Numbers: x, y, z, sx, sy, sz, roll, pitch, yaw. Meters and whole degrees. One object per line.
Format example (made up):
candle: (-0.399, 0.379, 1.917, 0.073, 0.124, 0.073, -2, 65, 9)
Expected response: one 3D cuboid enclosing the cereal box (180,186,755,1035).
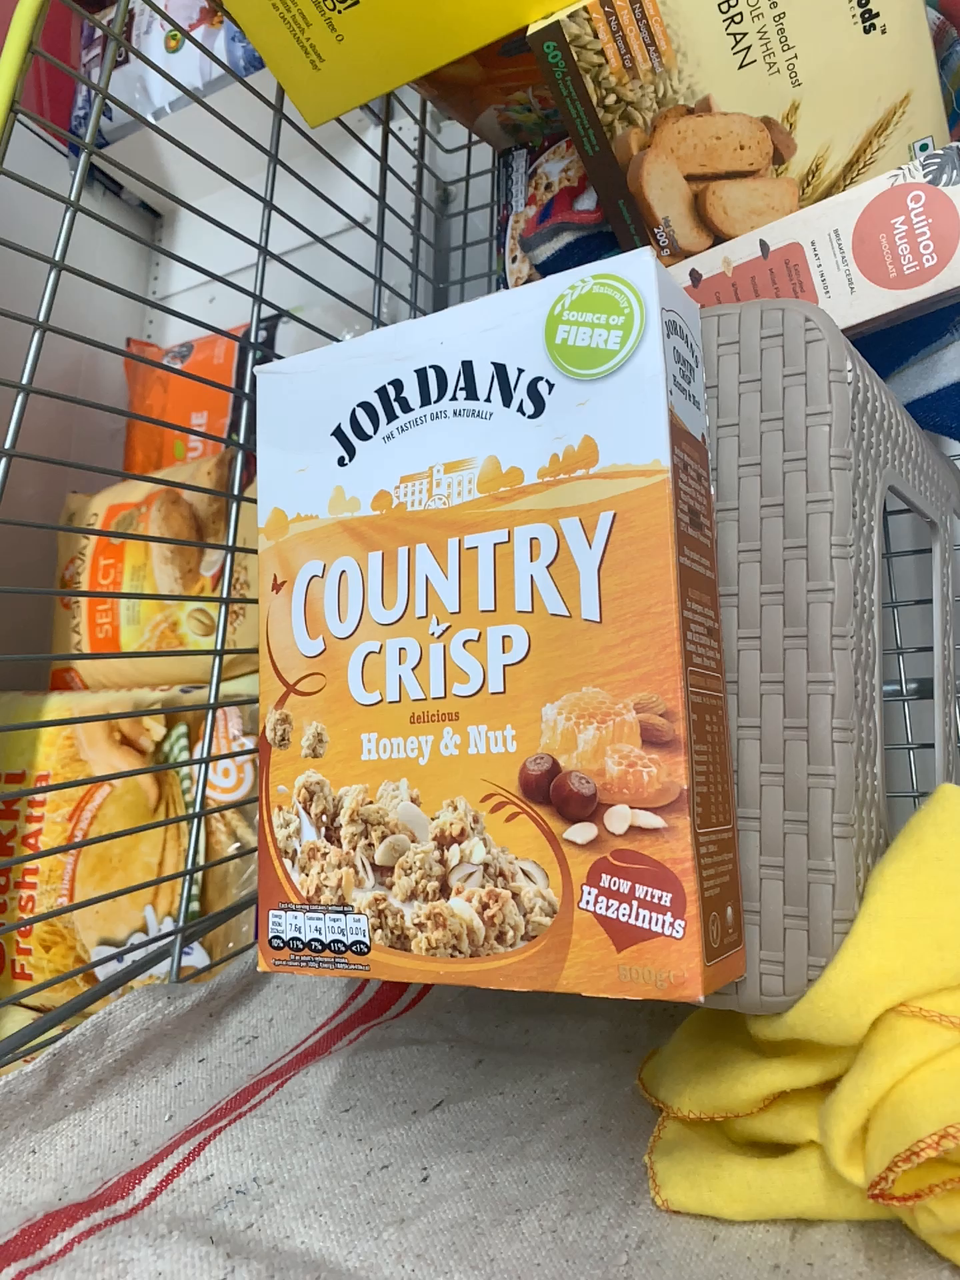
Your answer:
cereal box: (-0.013, -0.002, 0.373, 0.191, 0.080, 0.260, -7, 80, 26)
